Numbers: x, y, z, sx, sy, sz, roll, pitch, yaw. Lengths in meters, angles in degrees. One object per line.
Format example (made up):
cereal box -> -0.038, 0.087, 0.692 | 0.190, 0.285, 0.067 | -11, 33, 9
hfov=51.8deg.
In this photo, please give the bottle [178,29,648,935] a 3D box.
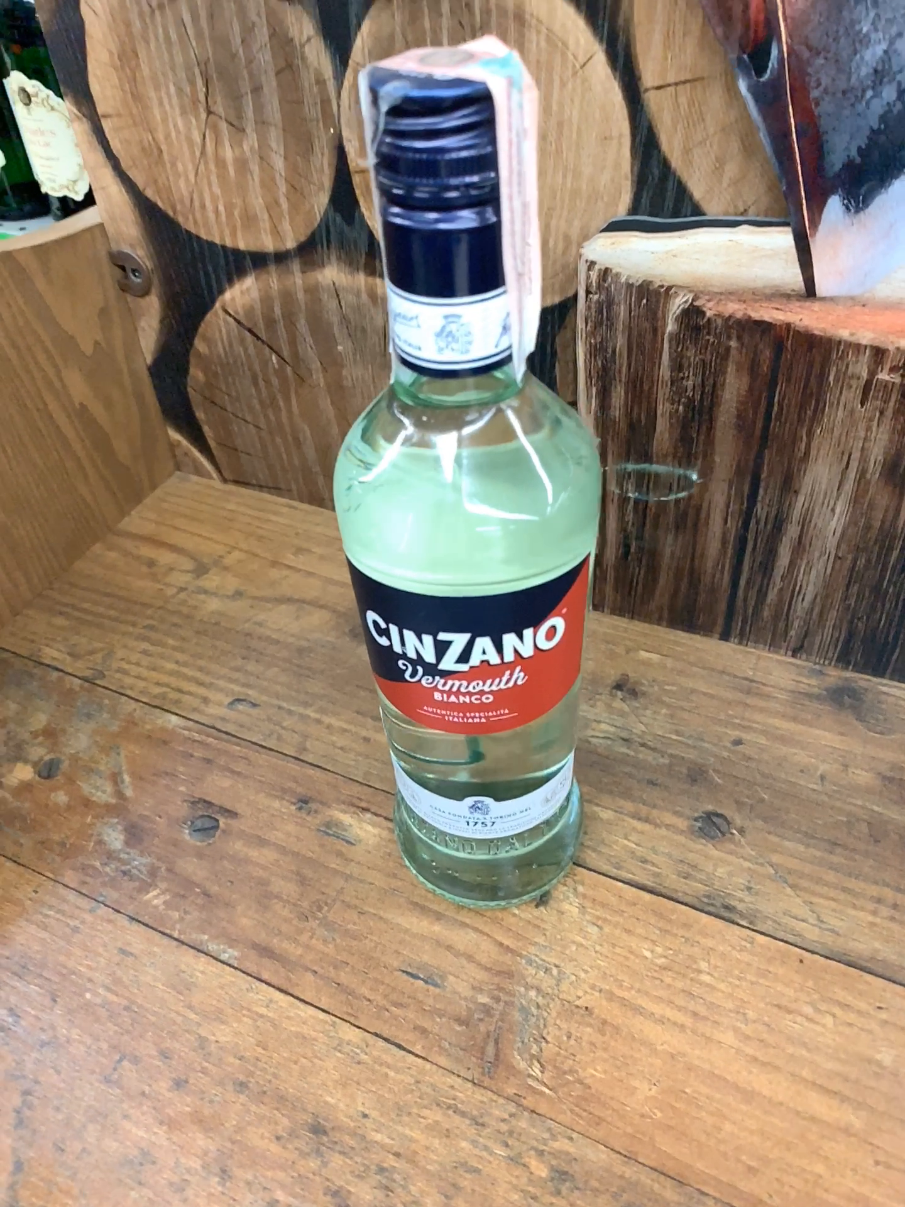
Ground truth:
bottle -> 0.004, -0.008, 0.244 | 0.070, 0.231, 0.070 | -2, 43, 2
